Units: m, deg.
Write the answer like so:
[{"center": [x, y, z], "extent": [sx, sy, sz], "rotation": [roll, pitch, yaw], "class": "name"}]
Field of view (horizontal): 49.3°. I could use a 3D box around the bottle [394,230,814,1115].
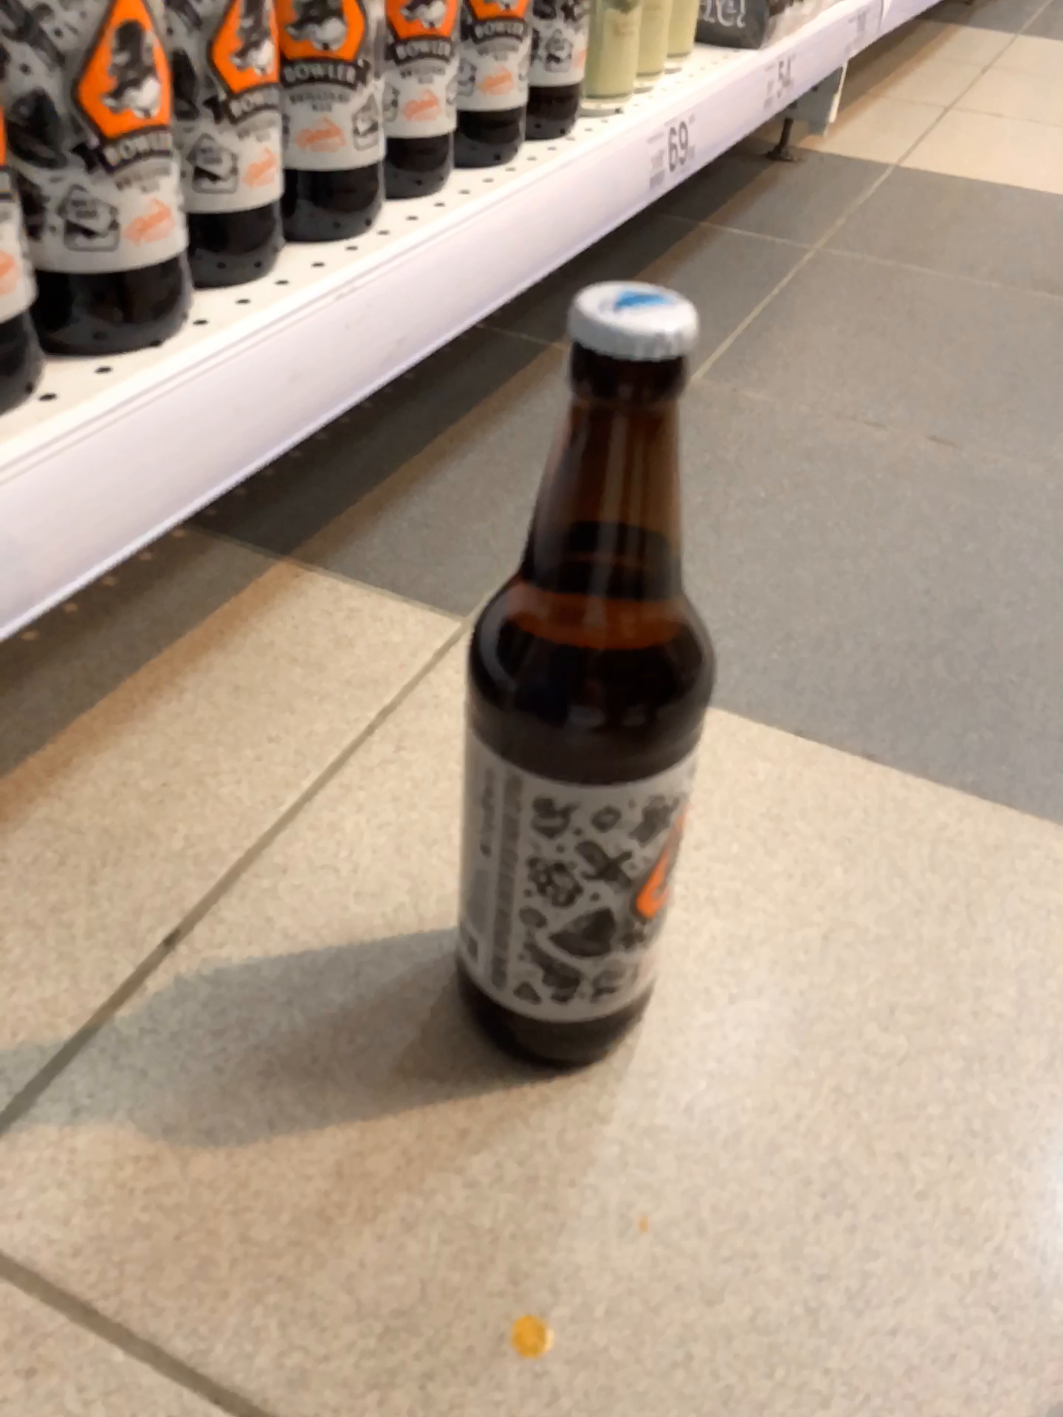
[{"center": [0.012, 0.005, 0.326], "extent": [0.070, 0.239, 0.075], "rotation": [3, 39, -2], "class": "bottle"}]
